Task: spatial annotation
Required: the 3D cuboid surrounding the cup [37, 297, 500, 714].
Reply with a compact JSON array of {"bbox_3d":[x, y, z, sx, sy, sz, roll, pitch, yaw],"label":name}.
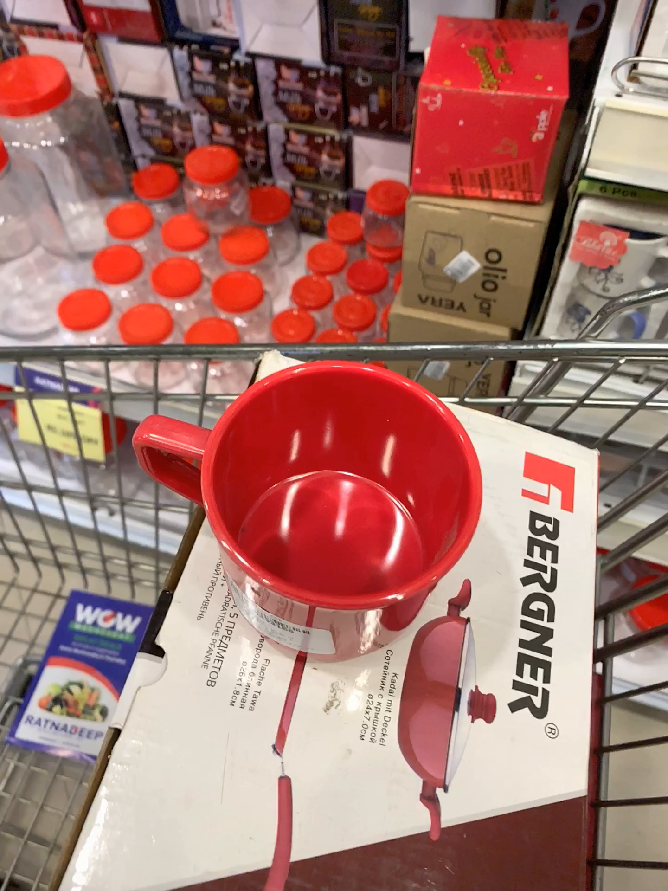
[{"bbox_3d":[-0.013,0.016,0.190,0.090,0.060,0.070,17,58,10],"label":"cup"}]
